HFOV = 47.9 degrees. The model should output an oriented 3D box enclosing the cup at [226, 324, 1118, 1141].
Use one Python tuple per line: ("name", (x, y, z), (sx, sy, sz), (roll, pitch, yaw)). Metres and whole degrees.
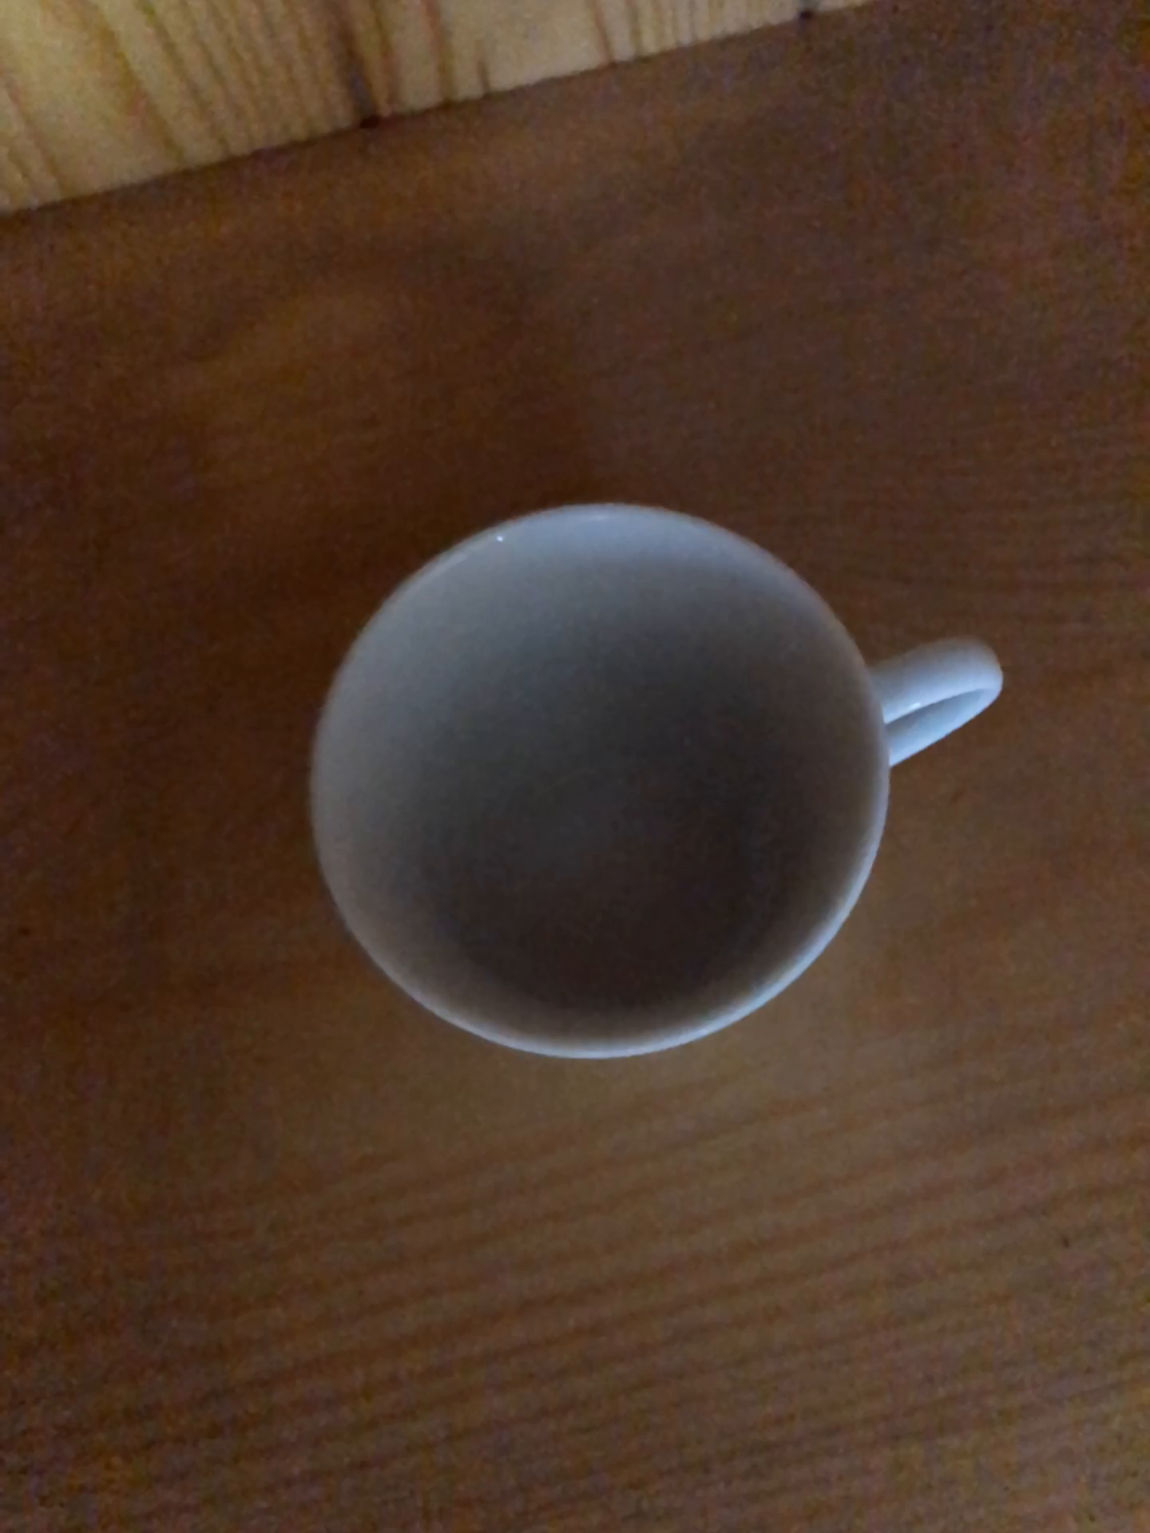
("cup", (0.010, -0.001, 0.169), (0.080, 0.050, 0.070), (-21, 69, -2))
